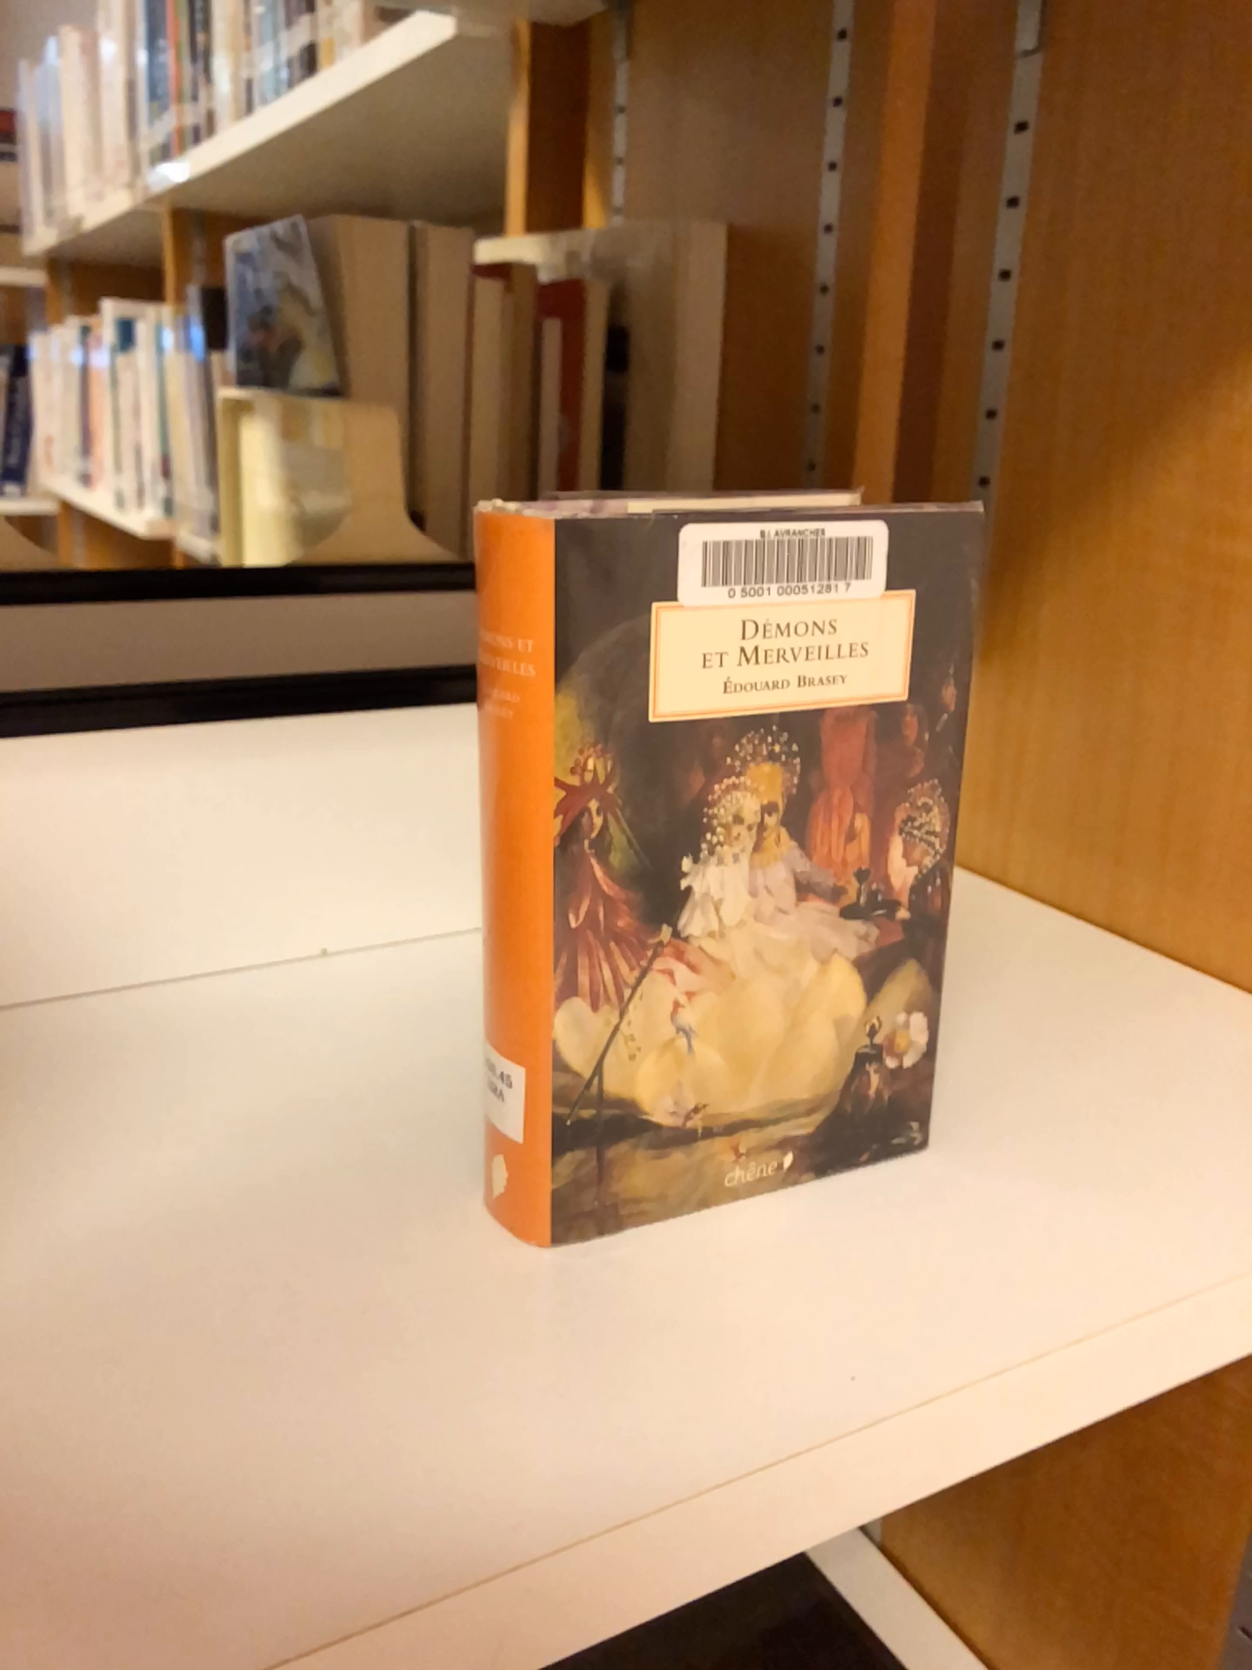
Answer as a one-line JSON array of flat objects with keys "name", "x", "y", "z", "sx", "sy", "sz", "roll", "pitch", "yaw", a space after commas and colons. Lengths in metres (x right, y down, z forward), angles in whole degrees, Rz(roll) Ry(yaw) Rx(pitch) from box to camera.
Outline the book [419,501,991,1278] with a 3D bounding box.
[{"name": "book", "x": 0.016, "y": 0.005, "z": 0.316, "sx": 0.114, "sy": 0.155, "sz": 0.047, "roll": -7, "pitch": 17, "yaw": -27}]
